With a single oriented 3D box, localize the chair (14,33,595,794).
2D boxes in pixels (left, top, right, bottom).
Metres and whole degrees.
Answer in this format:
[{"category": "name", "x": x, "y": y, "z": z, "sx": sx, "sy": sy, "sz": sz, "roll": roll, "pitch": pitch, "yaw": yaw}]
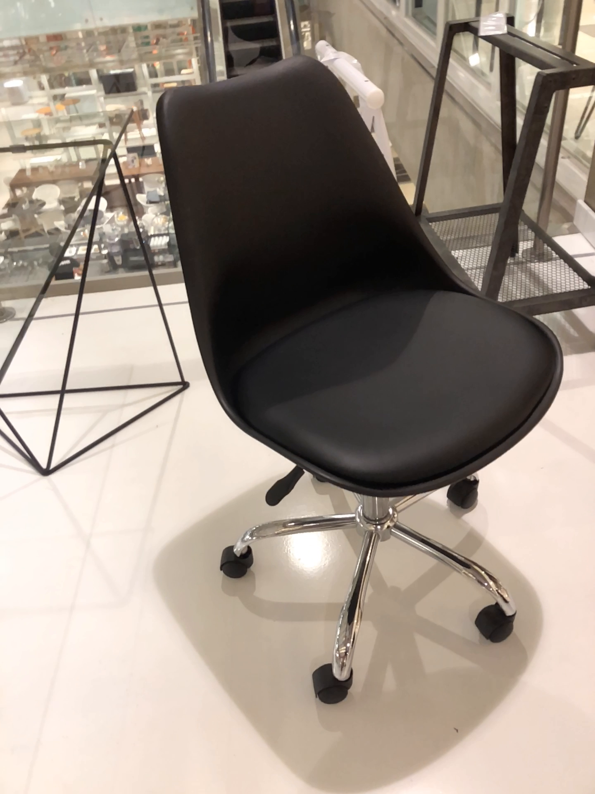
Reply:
[{"category": "chair", "x": 0.110, "y": -0.024, "z": 1.038, "sx": 0.632, "sy": 0.823, "sz": 0.633, "roll": -29, "pitch": 44, "yaw": -26}]
